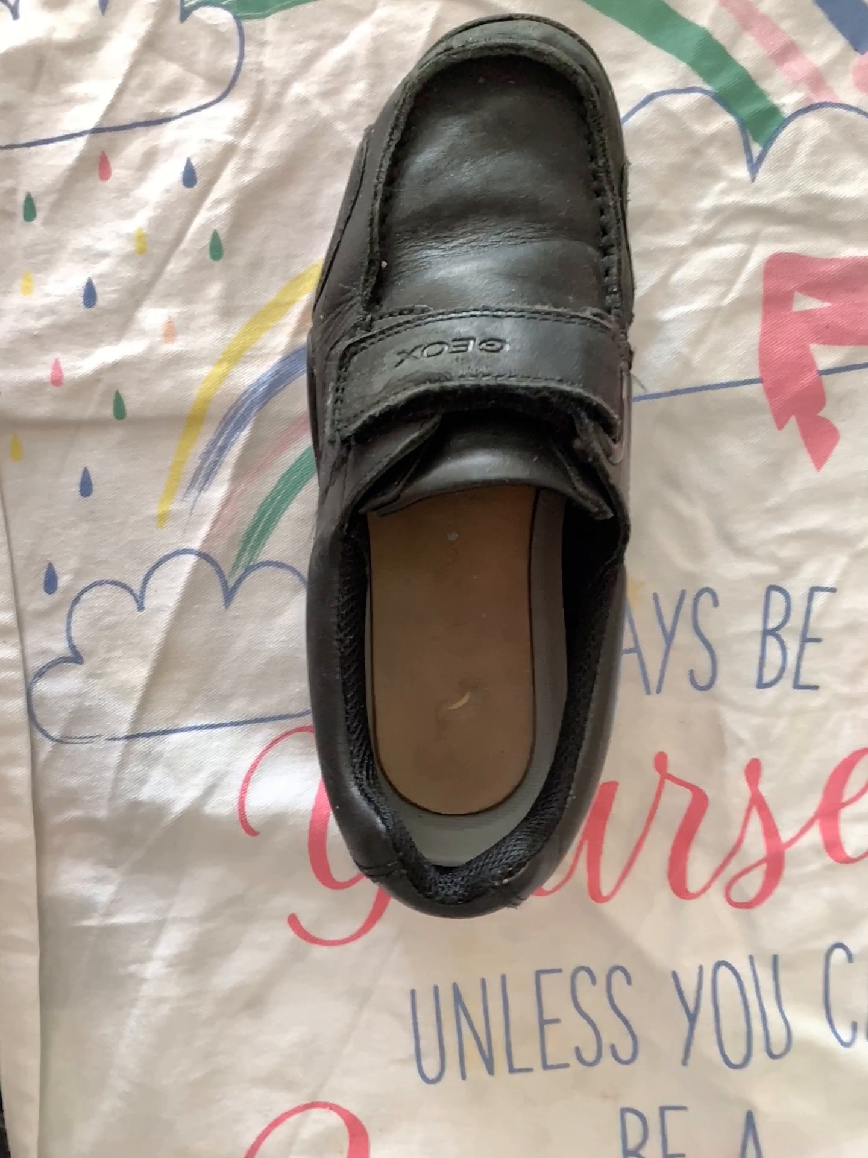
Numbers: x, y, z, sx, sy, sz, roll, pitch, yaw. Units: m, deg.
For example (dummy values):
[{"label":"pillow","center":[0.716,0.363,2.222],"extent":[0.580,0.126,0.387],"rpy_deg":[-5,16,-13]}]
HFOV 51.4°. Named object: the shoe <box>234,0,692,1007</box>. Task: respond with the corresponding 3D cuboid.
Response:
[{"label":"shoe","center":[0.010,-0.030,0.245],"extent":[0.080,0.140,0.220],"rpy_deg":[2,91,4]}]
